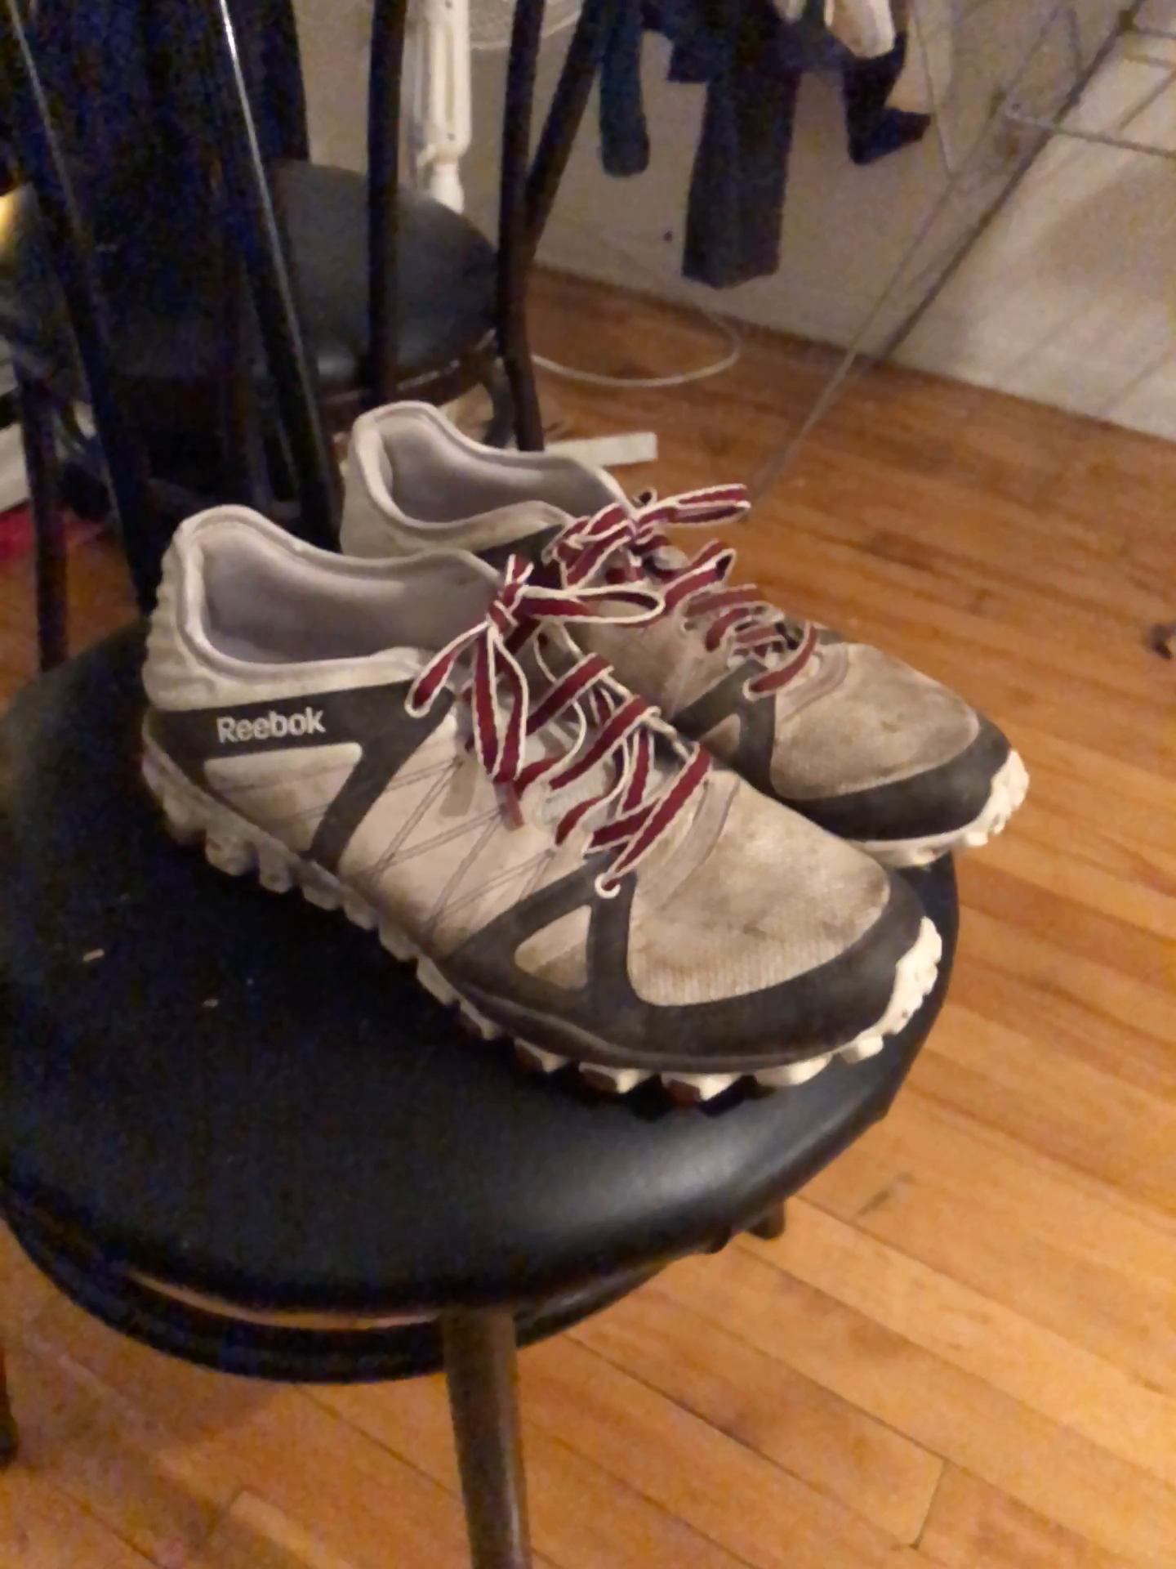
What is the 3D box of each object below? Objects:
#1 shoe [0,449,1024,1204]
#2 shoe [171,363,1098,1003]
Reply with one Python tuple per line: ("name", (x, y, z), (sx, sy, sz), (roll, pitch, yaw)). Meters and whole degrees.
("shoe", (-0.038, -0.002, 0.424), (0.311, 0.099, 0.101), (22, 44, 20))
("shoe", (0.009, -0.054, 0.496), (0.311, 0.099, 0.121), (22, 44, 20))
